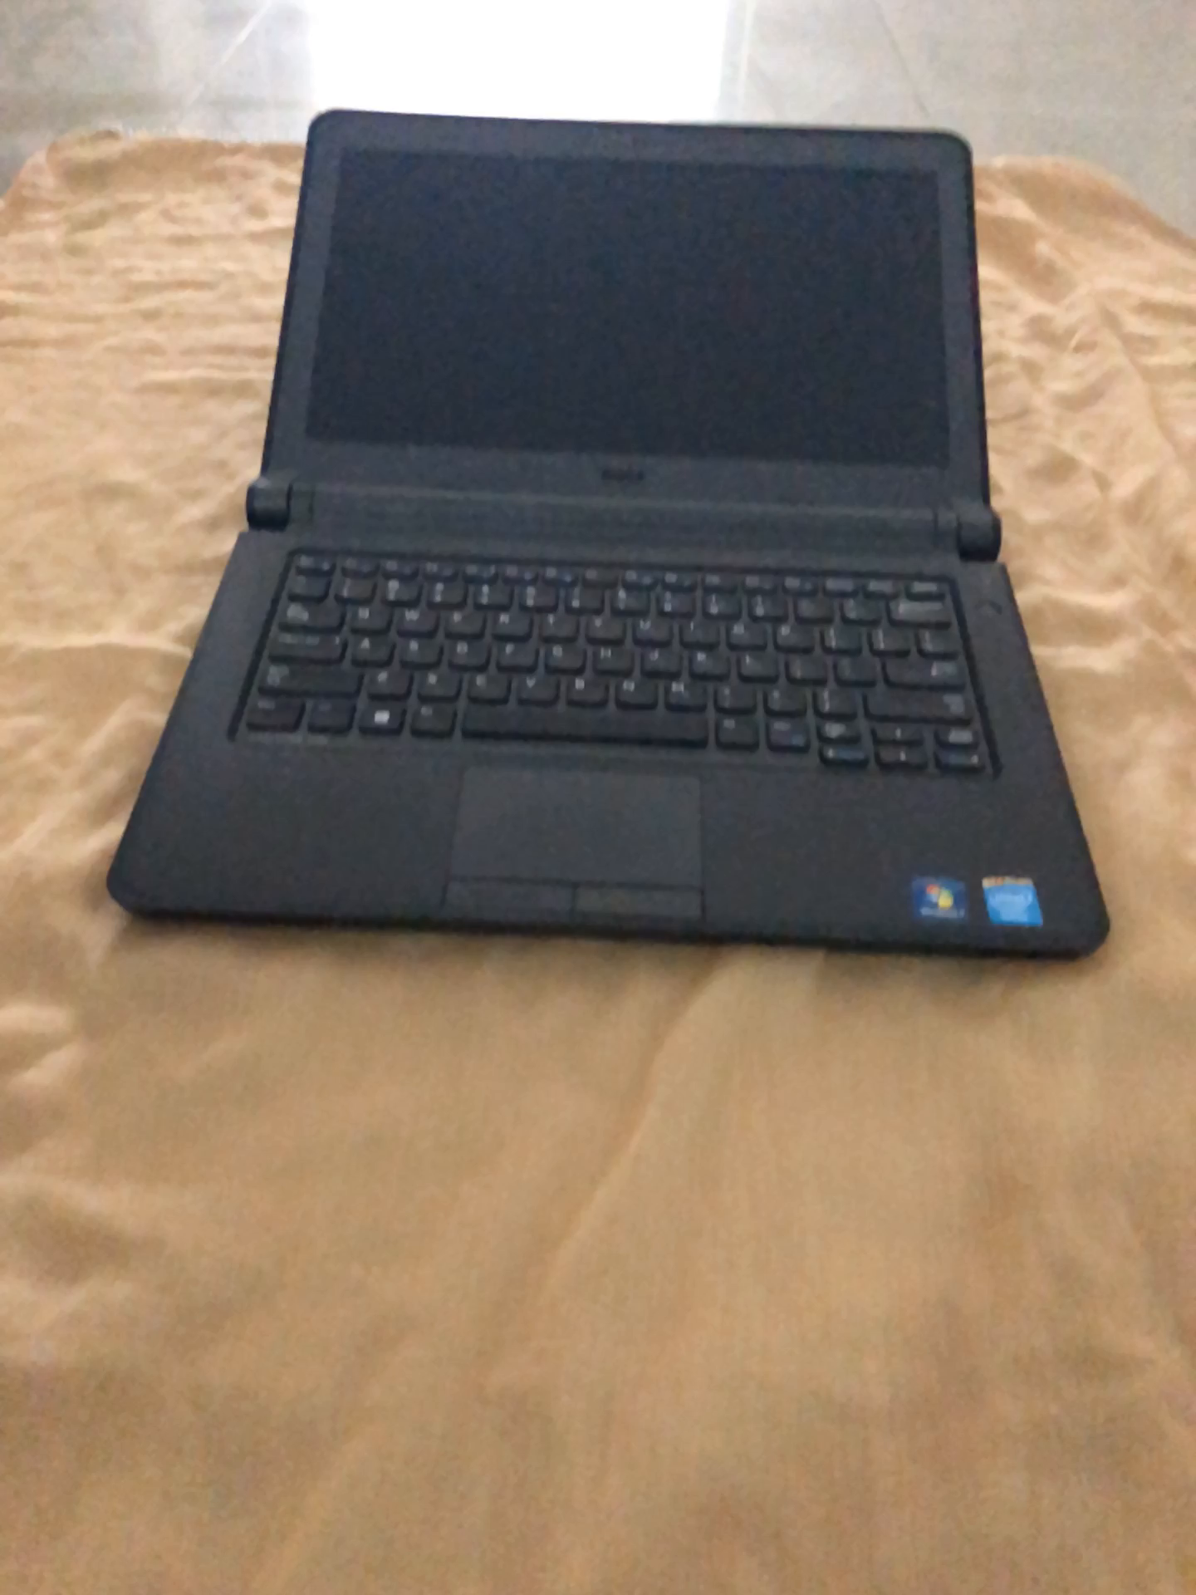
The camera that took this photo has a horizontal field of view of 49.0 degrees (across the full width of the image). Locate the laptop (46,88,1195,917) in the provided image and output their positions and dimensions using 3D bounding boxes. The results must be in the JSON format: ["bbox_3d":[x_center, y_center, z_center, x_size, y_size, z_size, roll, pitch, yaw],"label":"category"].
[{"bbox_3d":[0.012,-0.152,0.523,0.308,0.091,0.412,3,47,0],"label":"laptop"}]
